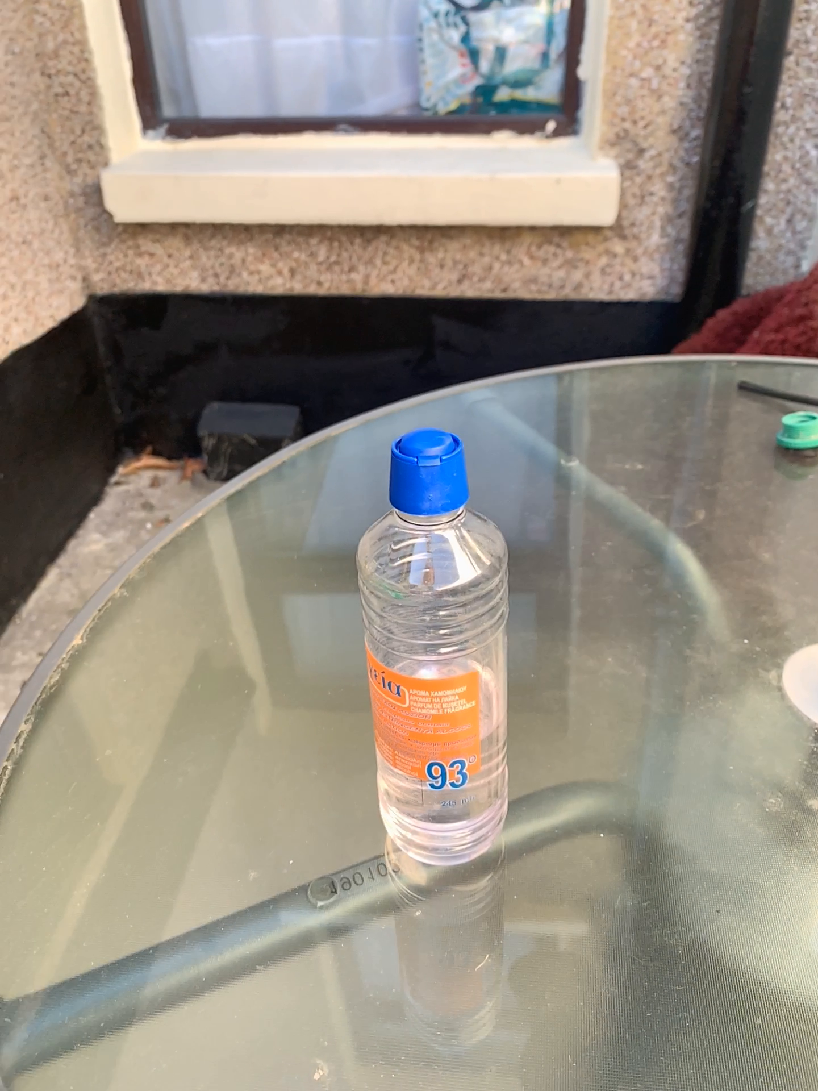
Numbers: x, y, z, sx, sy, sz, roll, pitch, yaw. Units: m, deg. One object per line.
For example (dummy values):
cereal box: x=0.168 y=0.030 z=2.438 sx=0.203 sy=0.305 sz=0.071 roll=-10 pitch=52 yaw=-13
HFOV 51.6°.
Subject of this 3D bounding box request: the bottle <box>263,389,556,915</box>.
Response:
bottle: x=0.003 y=0.038 z=0.286 sx=0.060 sy=0.158 sz=0.060 roll=-1 pitch=33 yaw=1
